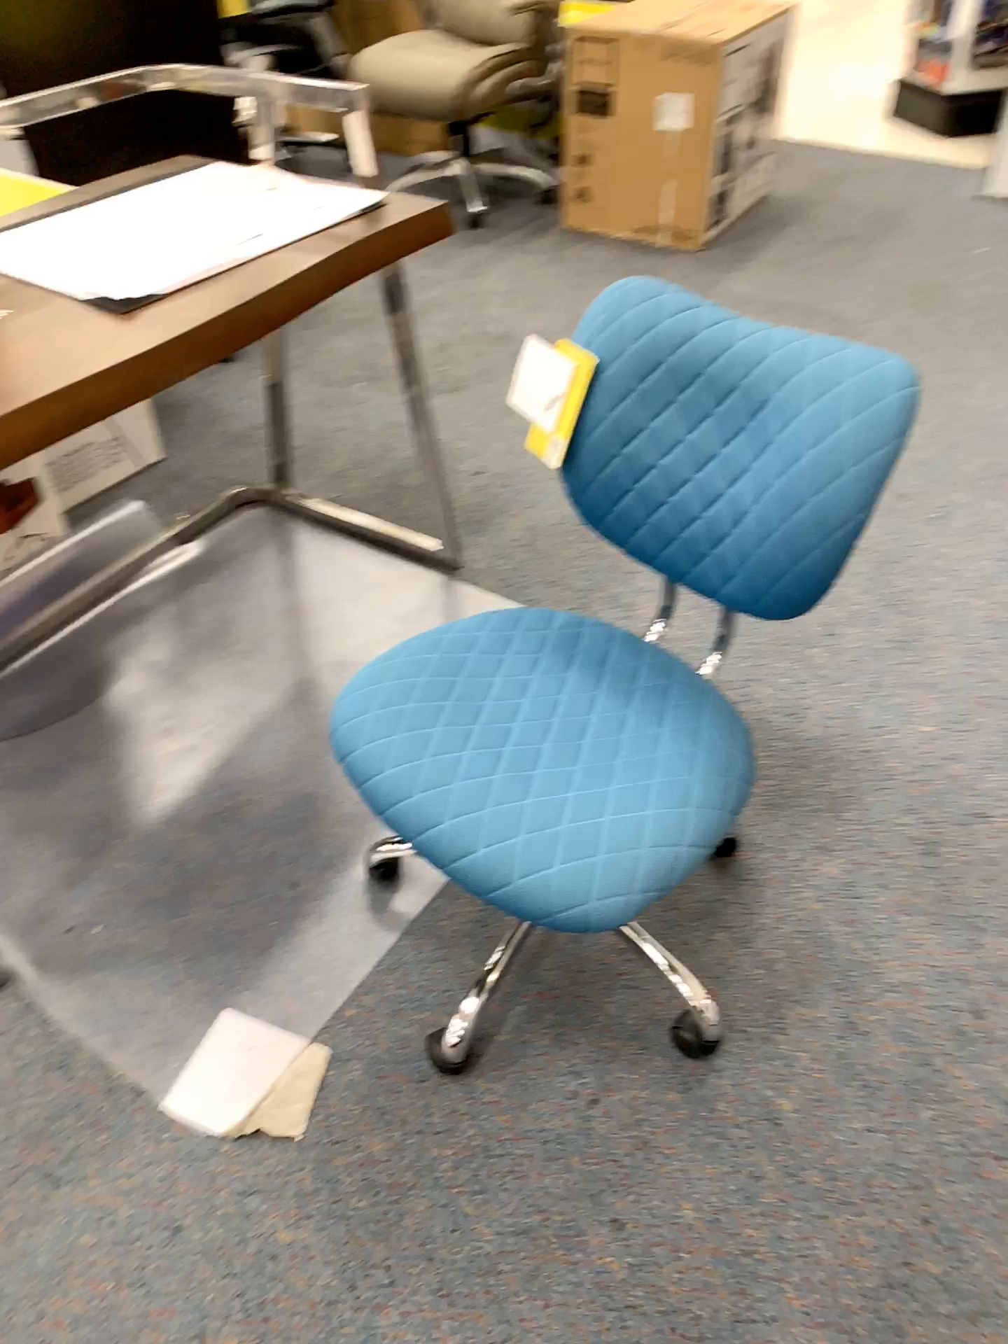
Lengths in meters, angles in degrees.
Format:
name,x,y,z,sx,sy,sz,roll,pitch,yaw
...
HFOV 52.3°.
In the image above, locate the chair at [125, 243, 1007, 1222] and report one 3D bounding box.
name,x,y,z,sx,sy,sz,roll,pitch,yaw
chair,0.090,0.035,1.241,0.666,0.775,0.600,-33,50,-31
